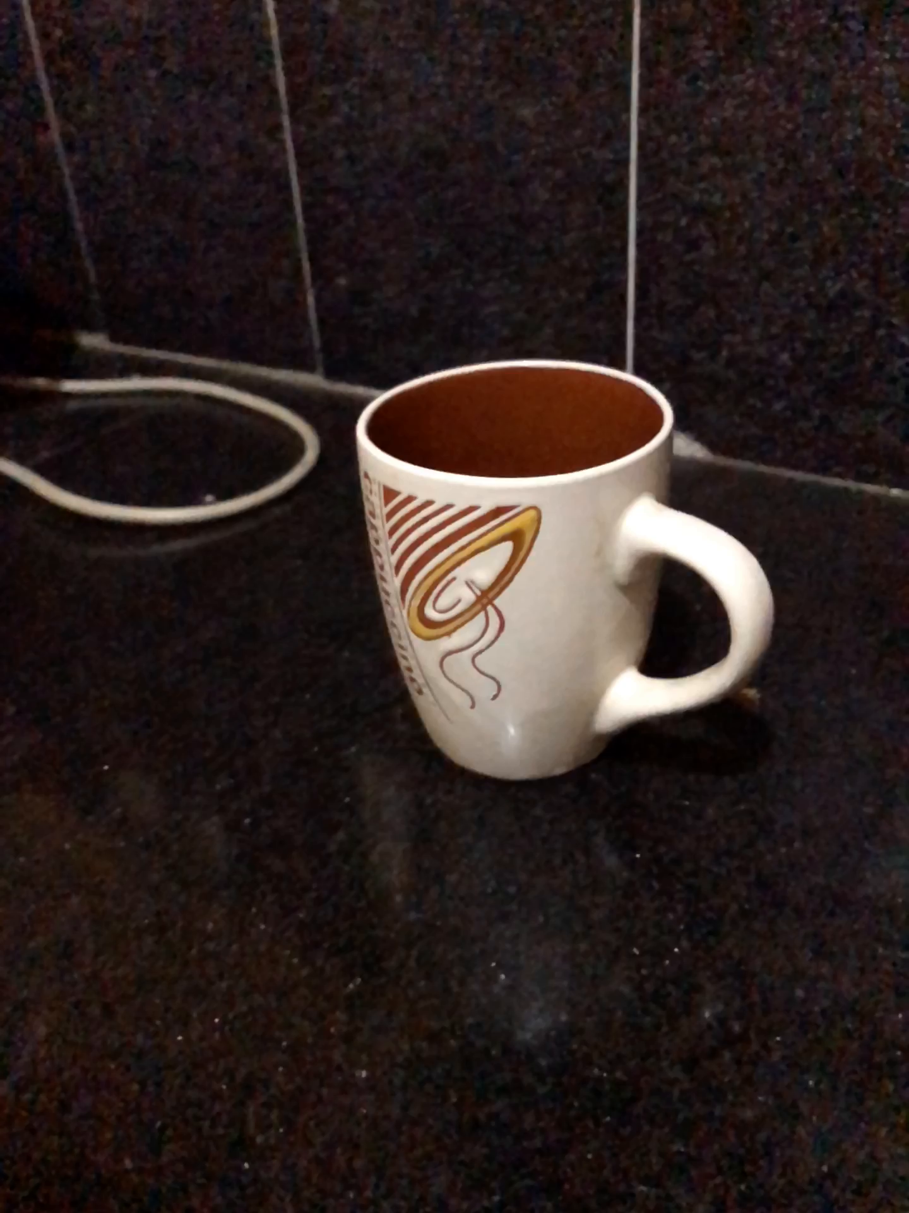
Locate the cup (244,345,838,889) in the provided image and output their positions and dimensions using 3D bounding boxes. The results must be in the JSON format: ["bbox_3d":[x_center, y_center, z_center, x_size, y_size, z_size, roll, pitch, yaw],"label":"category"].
[{"bbox_3d":[0.025,-0.007,0.278,0.120,0.089,0.091,16,37,31],"label":"cup"}]
